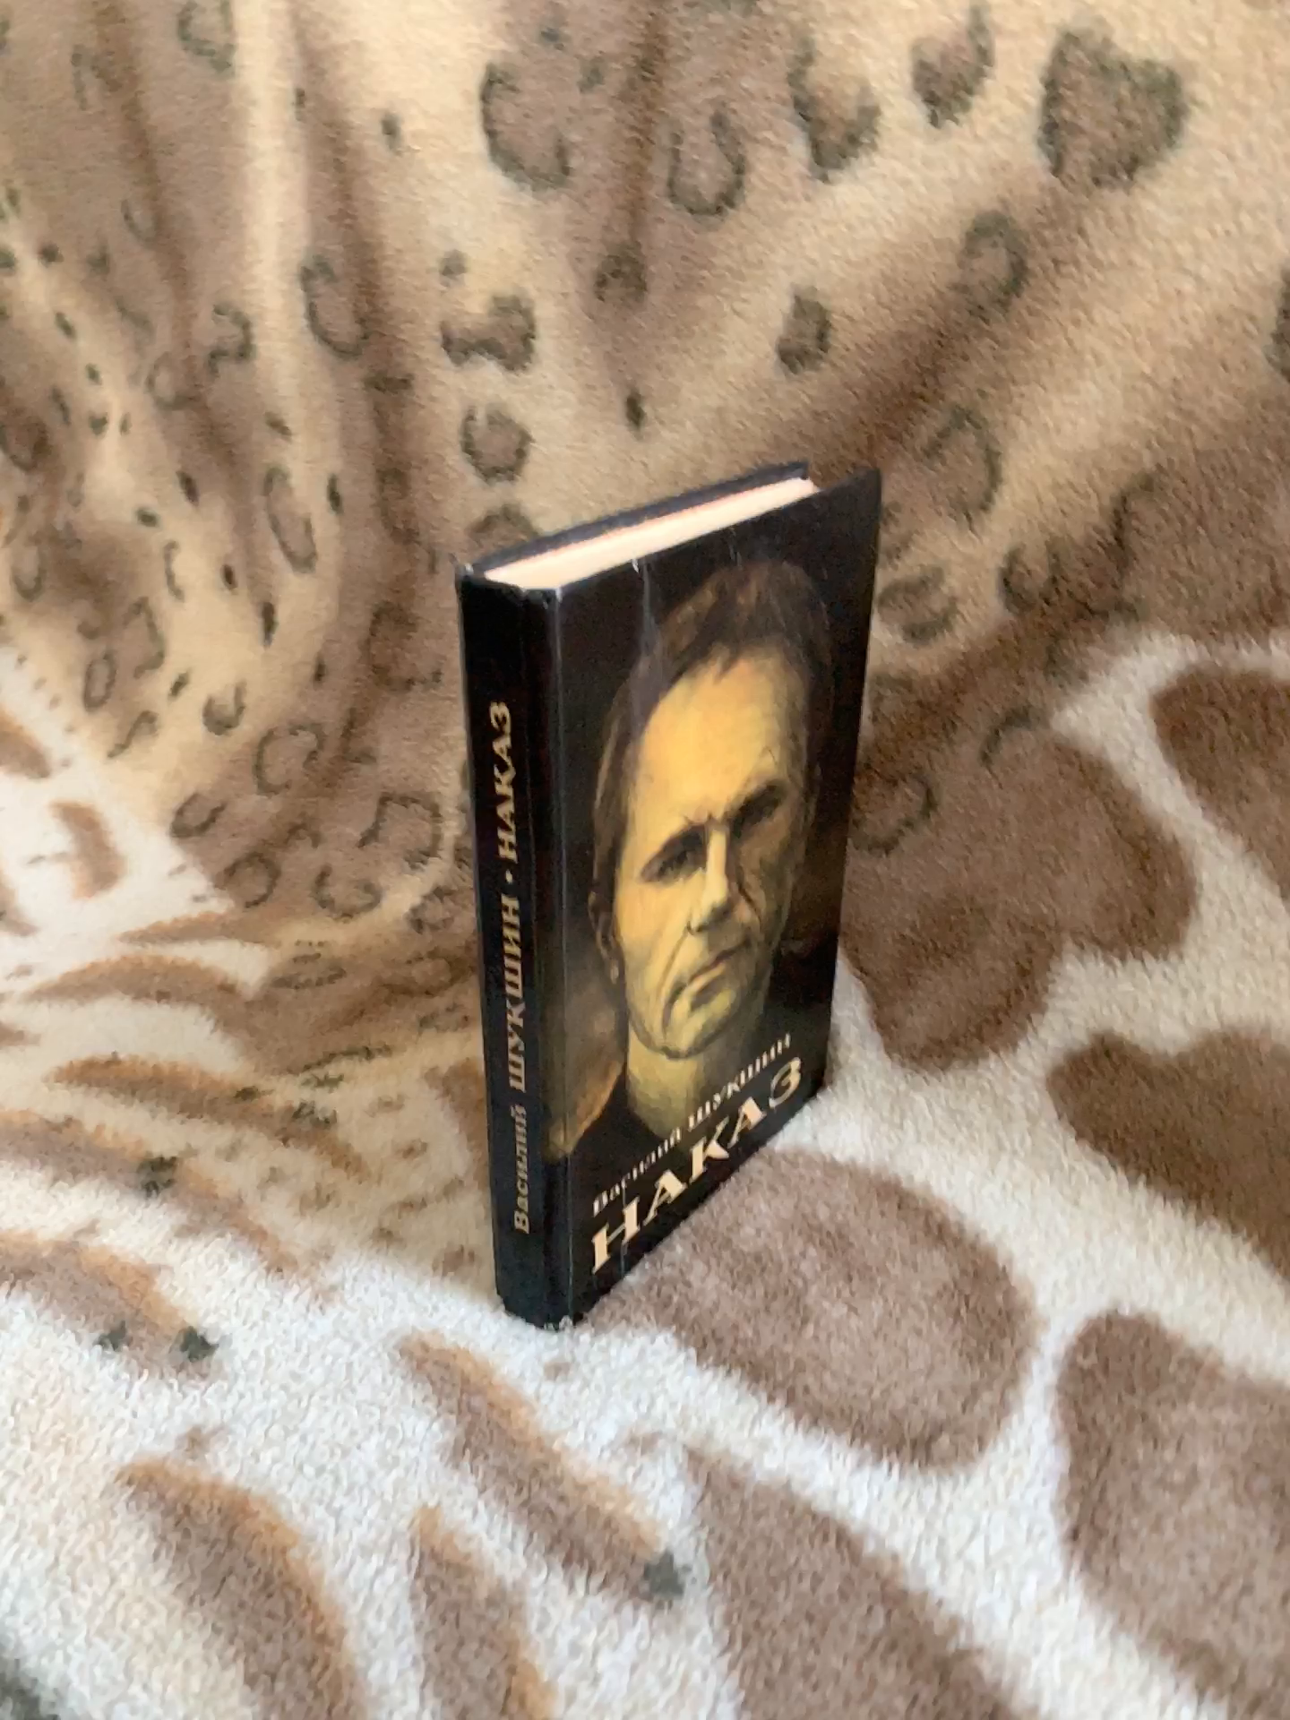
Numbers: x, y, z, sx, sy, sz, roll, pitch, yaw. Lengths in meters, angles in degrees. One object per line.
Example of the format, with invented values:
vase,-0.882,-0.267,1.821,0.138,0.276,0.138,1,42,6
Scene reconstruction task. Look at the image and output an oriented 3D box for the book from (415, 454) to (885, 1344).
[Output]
book,0.007,0.009,0.348,0.030,0.198,0.131,23,37,33
